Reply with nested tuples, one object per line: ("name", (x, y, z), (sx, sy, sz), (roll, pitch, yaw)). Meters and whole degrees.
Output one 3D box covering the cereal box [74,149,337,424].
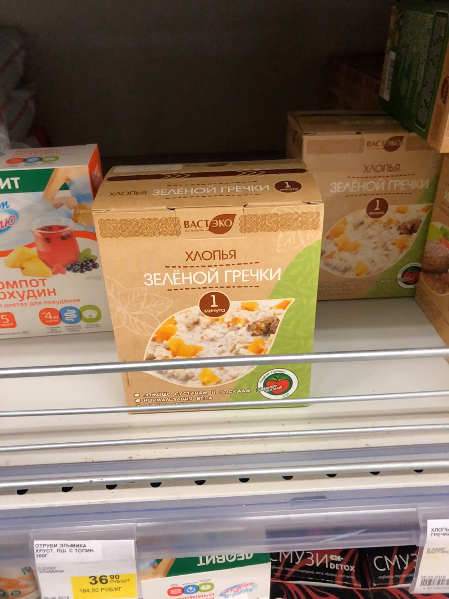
("cereal box", (-0.009, -0.008, 0.325), (0.130, 0.149, 0.091), (-2, 33, 0))
